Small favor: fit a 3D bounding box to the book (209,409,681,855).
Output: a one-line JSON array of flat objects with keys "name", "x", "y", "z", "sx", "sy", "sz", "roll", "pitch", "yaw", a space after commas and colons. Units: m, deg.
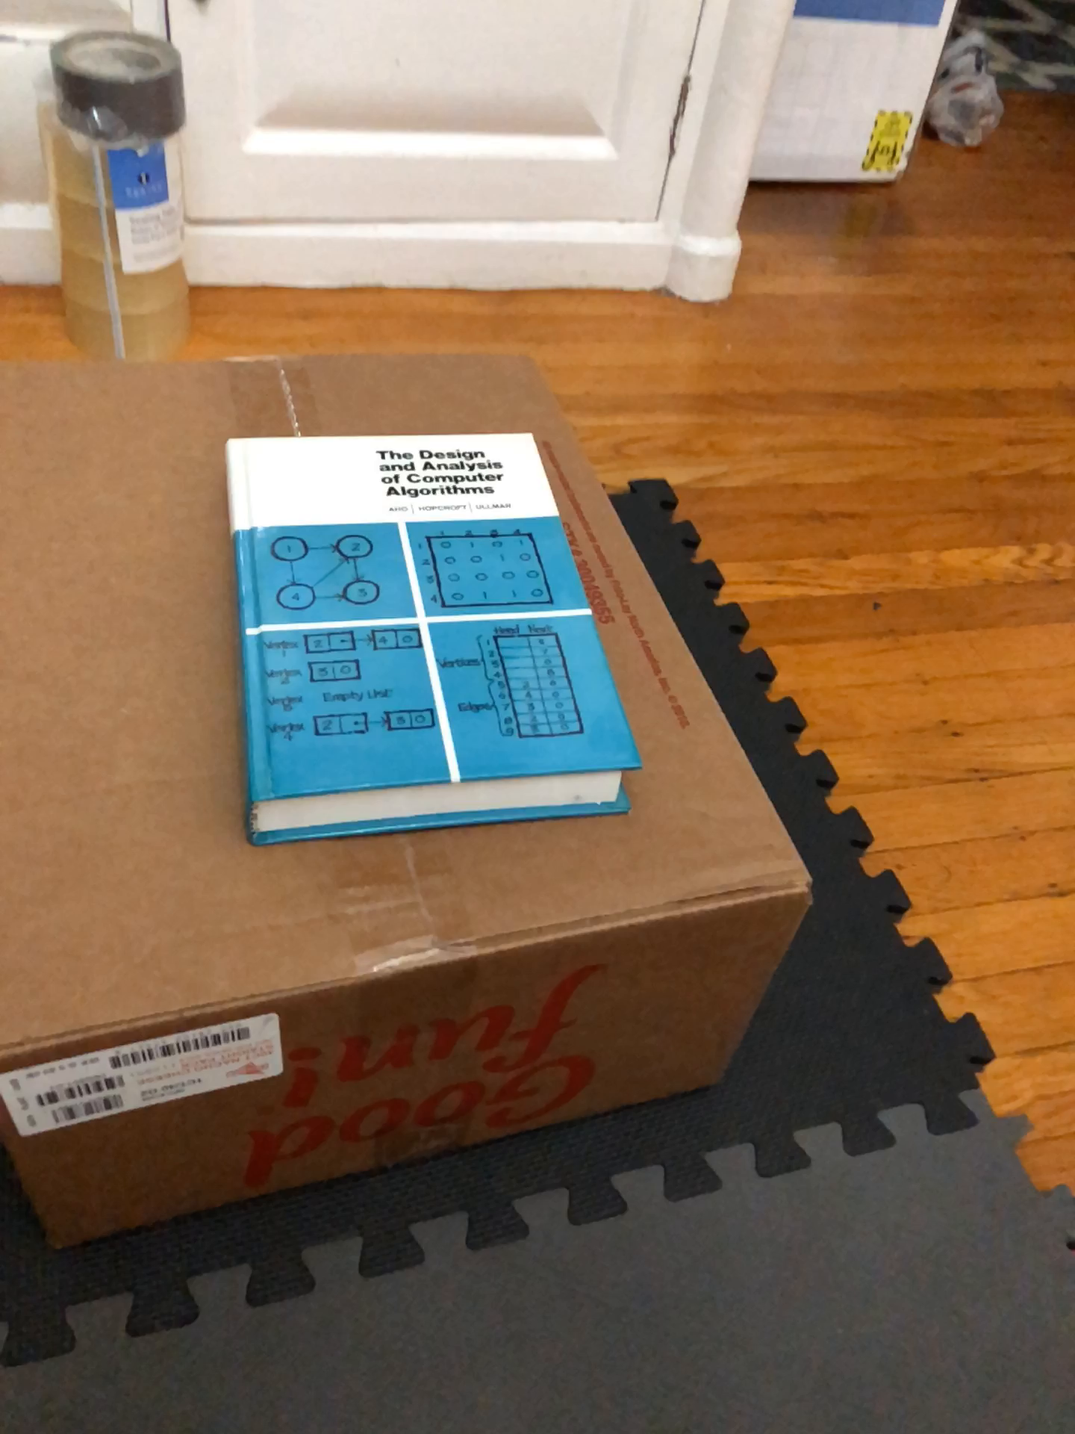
[{"name": "book", "x": -0.059, "y": -0.057, "z": 0.574, "sx": 0.190, "sy": 0.040, "sz": 0.261, "roll": -3, "pitch": 48, "yaw": -14}]
